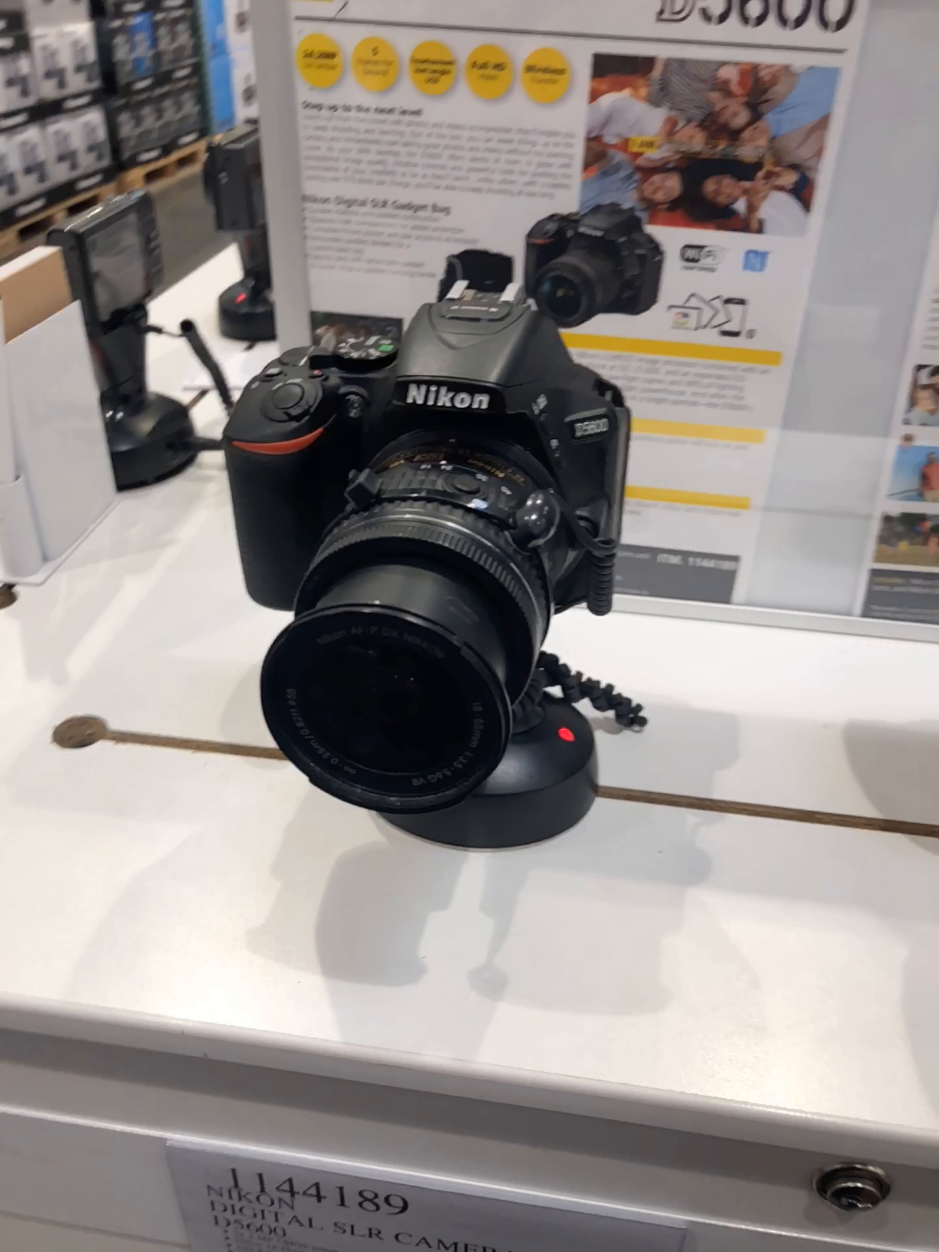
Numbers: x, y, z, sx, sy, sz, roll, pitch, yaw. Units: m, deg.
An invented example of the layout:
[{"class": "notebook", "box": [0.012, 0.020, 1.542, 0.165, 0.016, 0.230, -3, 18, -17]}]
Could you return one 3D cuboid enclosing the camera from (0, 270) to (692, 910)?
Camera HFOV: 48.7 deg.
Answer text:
[{"class": "camera", "box": [-0.015, -0.026, 0.298, 0.140, 0.099, 0.161, 7, 34, 9]}]
